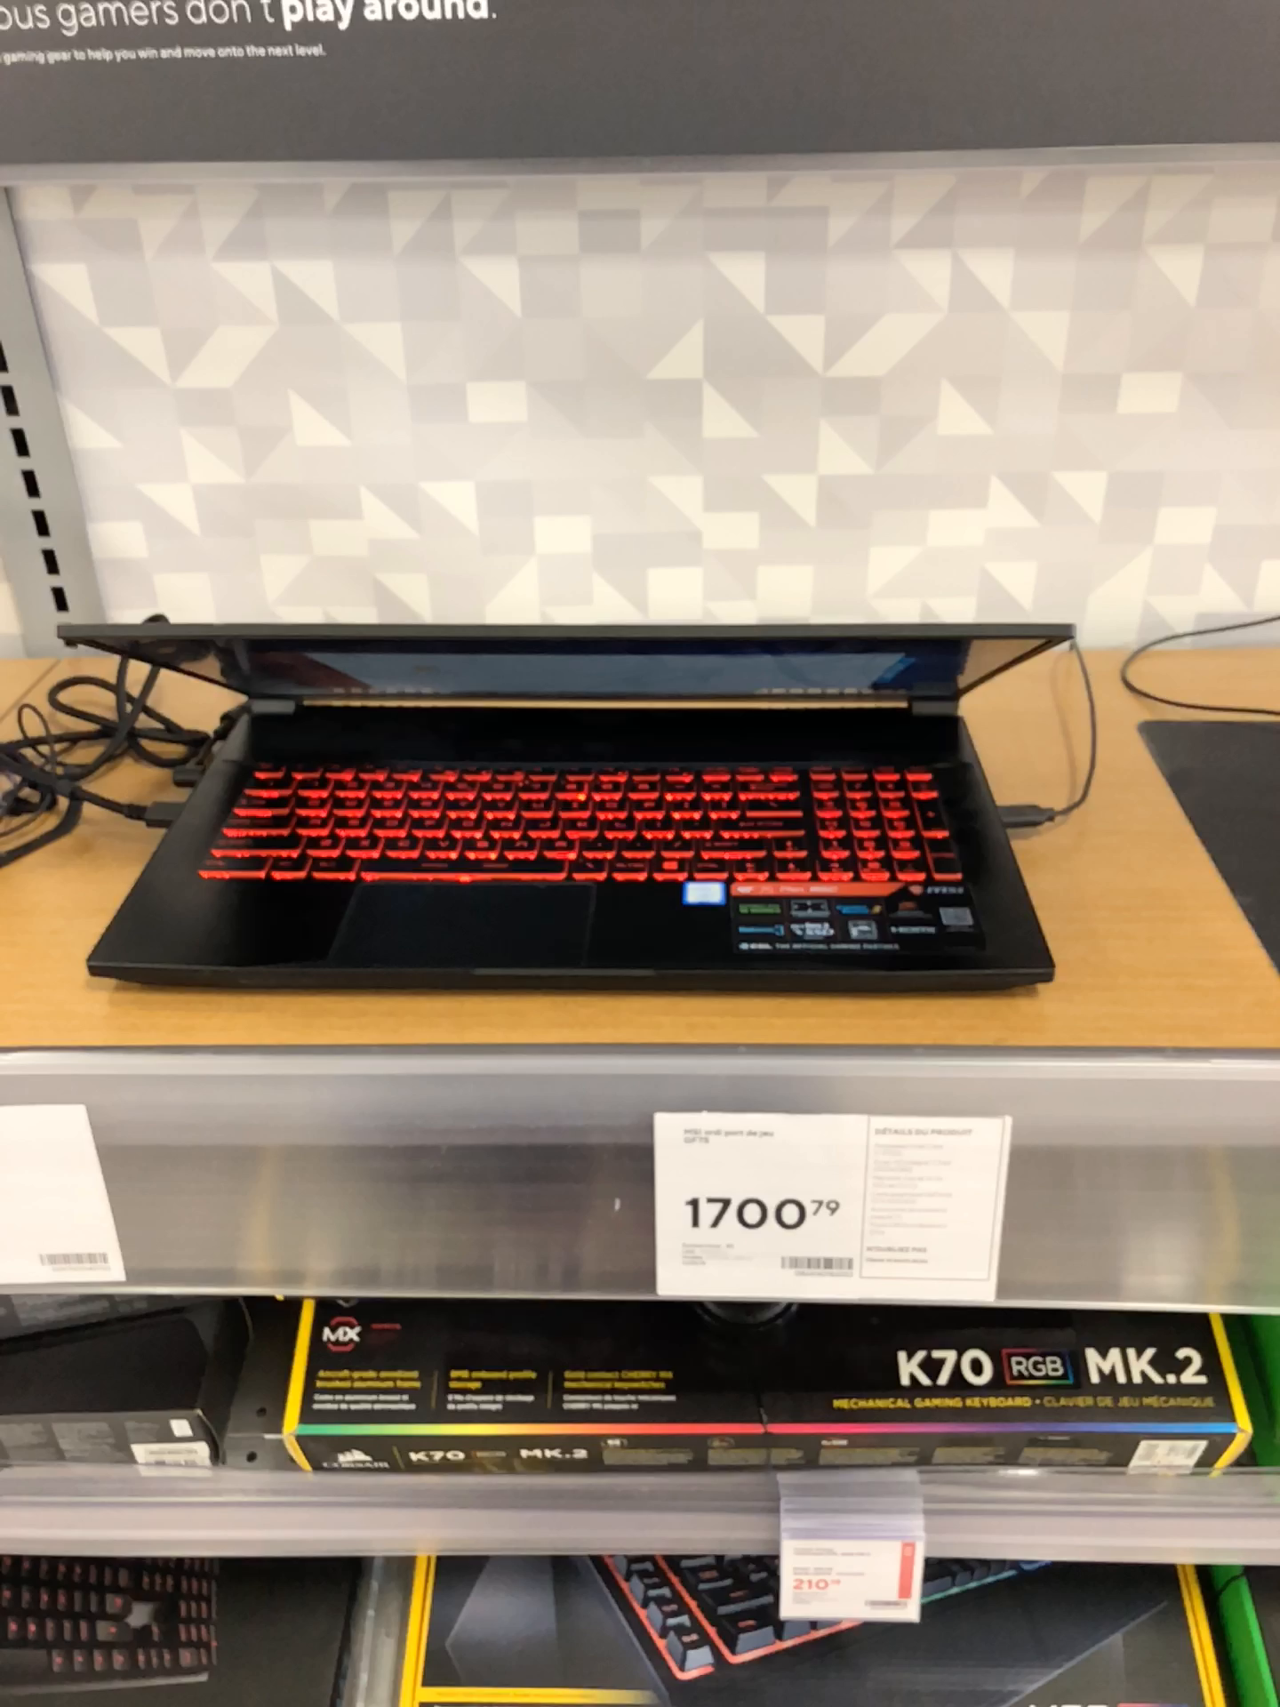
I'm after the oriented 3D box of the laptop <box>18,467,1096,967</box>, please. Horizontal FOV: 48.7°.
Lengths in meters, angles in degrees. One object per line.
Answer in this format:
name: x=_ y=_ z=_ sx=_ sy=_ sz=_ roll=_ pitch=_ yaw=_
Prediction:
laptop: x=-0.027 y=-0.075 z=0.654 sx=0.392 sy=0.133 sz=0.249 roll=0 pitch=32 yaw=2
